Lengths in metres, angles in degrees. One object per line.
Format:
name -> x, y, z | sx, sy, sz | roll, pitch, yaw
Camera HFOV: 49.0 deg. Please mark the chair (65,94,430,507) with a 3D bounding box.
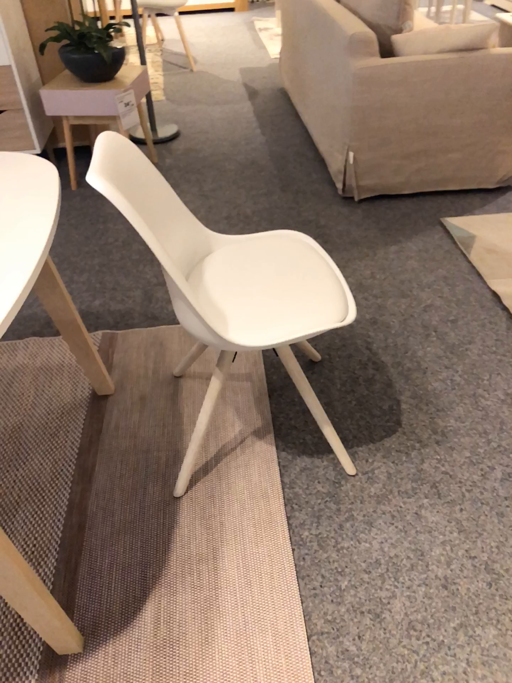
chair -> -0.026, -0.097, 1.352 | 0.590, 0.755, 0.553 | -6, 39, -4
